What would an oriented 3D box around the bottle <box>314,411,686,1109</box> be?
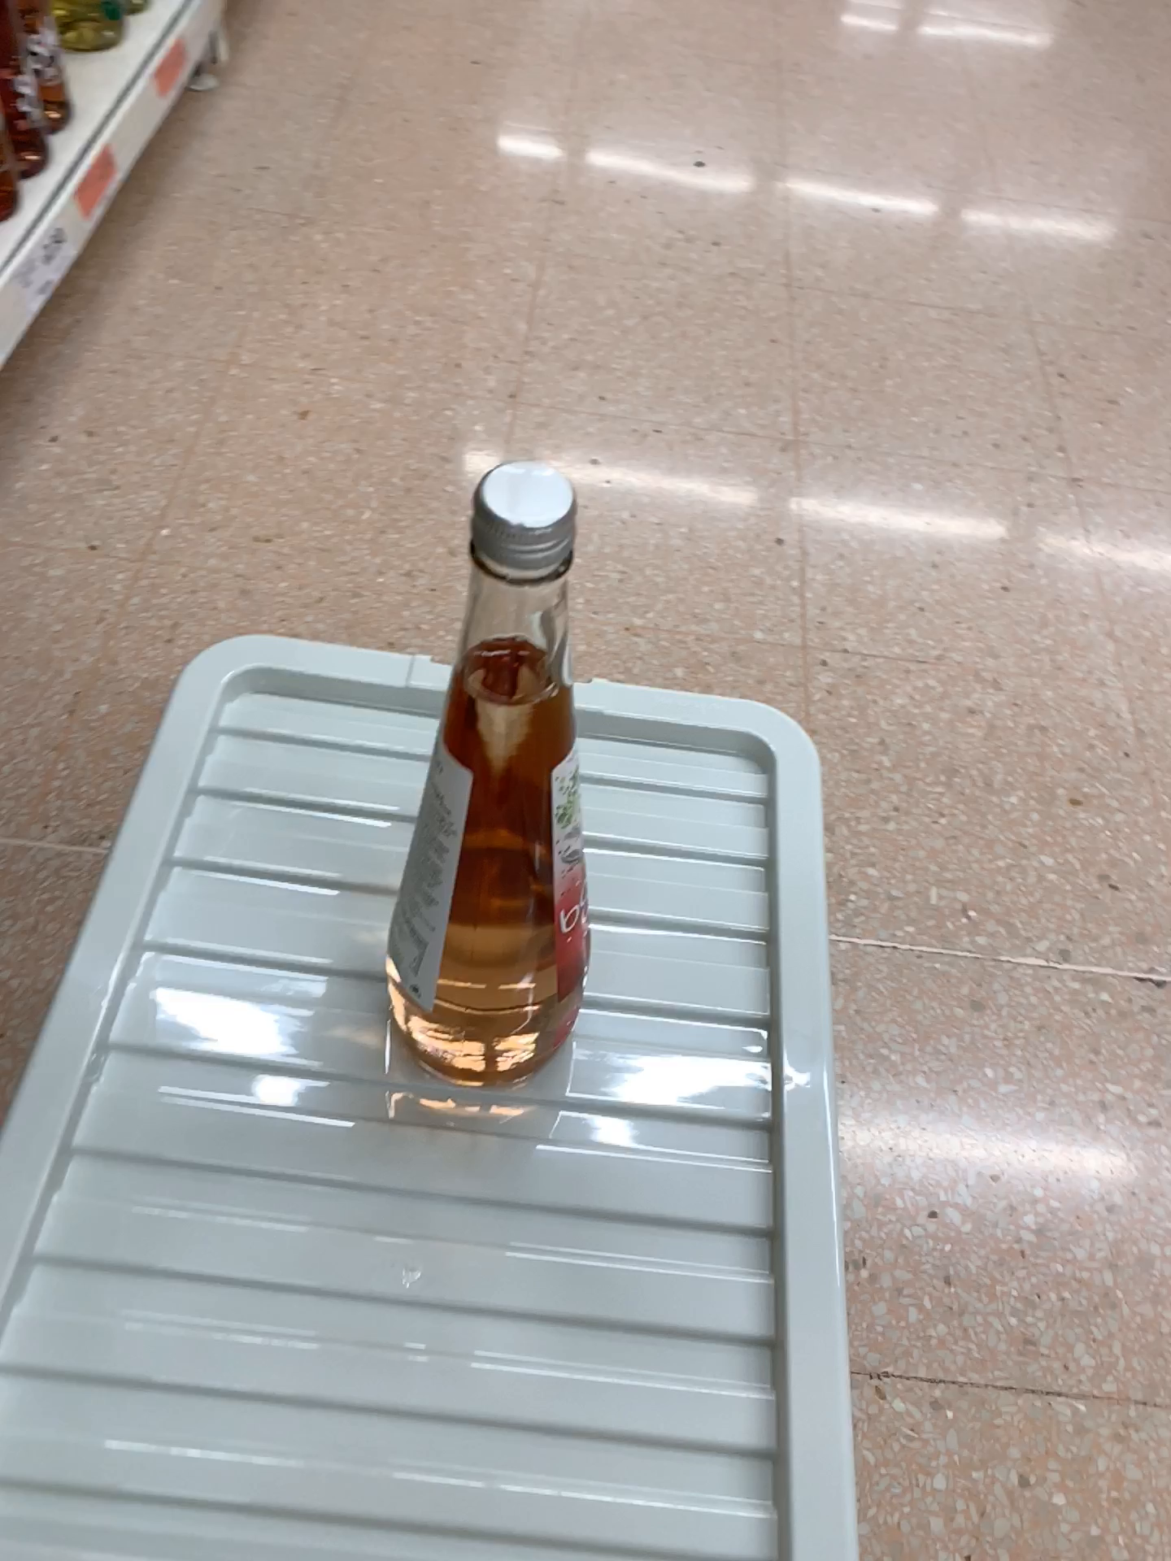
[{"bbox_3d":[-0.036,0.021,0.433,0.090,0.299,0.081,4,53,-4],"label":"bottle"}]
